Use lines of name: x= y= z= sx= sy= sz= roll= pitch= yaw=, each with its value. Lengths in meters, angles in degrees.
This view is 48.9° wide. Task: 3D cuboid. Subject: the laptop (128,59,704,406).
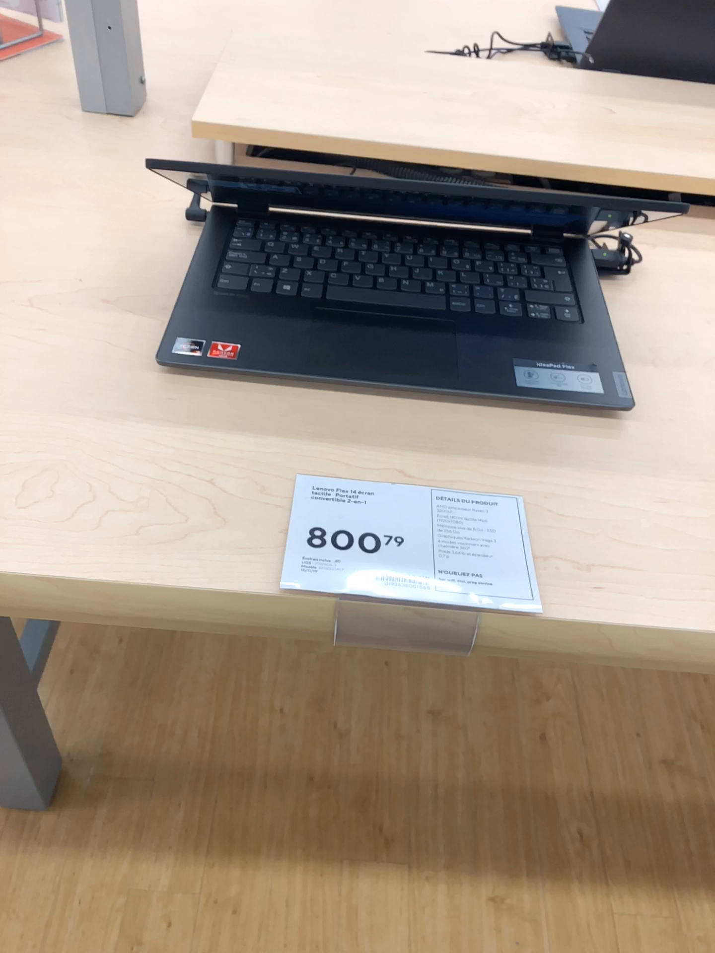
laptop: x=0.037 y=-0.185 z=0.574 sx=0.331 sy=0.121 sz=0.229 roll=5 pitch=45 yaw=-2
